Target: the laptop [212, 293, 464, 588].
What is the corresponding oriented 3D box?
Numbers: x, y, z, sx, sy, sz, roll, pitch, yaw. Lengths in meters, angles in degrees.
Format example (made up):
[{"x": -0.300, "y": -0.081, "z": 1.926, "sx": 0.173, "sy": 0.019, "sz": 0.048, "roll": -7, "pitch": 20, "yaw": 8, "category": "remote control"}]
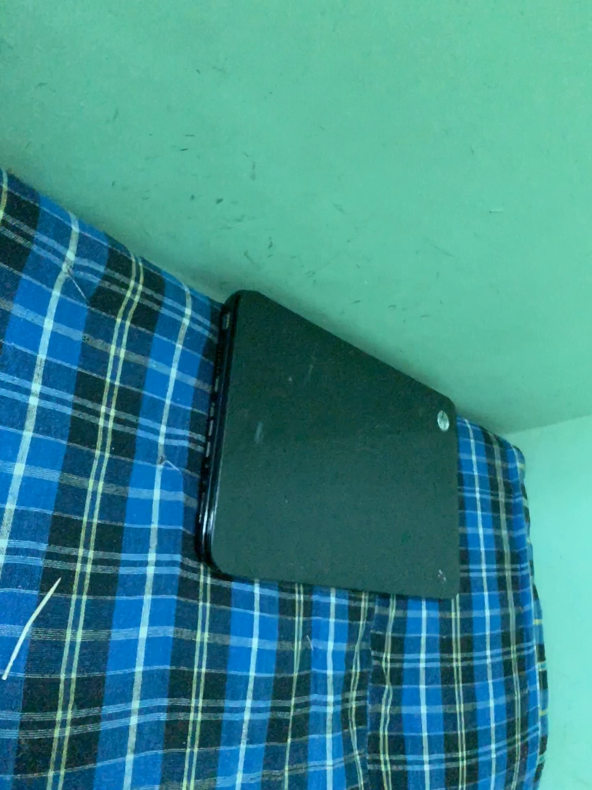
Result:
[{"x": 0.070, "y": 0.067, "z": 0.596, "sx": 0.348, "sy": 0.018, "sz": 0.217, "roll": 22, "pitch": 65, "yaw": -43, "category": "laptop"}]
